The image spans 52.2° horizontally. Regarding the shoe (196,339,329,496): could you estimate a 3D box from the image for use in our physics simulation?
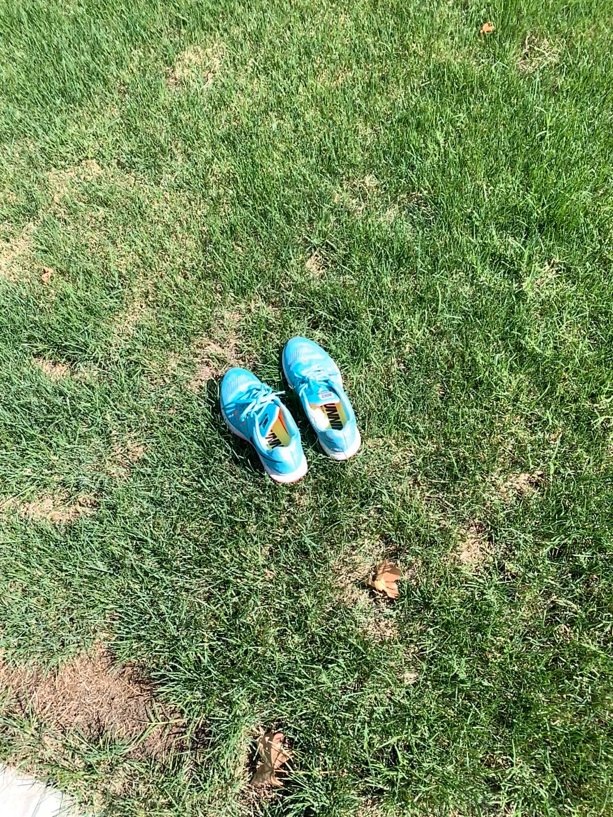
[{"bbox_3d":[-0.081,0.014,1.160,0.110,0.100,0.260,-33,69,-13],"label":"shoe"}]

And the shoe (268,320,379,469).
[{"bbox_3d":[0.028,-0.028,1.166,0.100,0.080,0.250,-24,67,-9],"label":"shoe"}]
